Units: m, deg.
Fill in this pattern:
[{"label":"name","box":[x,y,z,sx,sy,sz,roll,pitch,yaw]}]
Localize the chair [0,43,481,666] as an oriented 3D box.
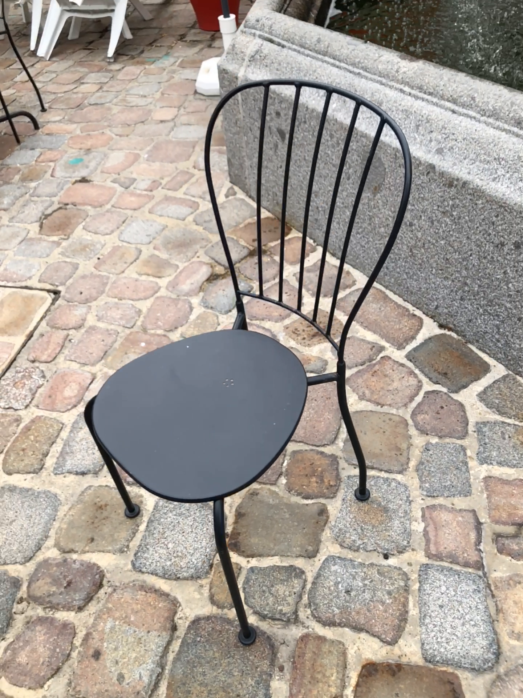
[{"label":"chair","box":[-0.038,0.036,0.930,0.472,0.796,0.420,-36,52,-28]}]
